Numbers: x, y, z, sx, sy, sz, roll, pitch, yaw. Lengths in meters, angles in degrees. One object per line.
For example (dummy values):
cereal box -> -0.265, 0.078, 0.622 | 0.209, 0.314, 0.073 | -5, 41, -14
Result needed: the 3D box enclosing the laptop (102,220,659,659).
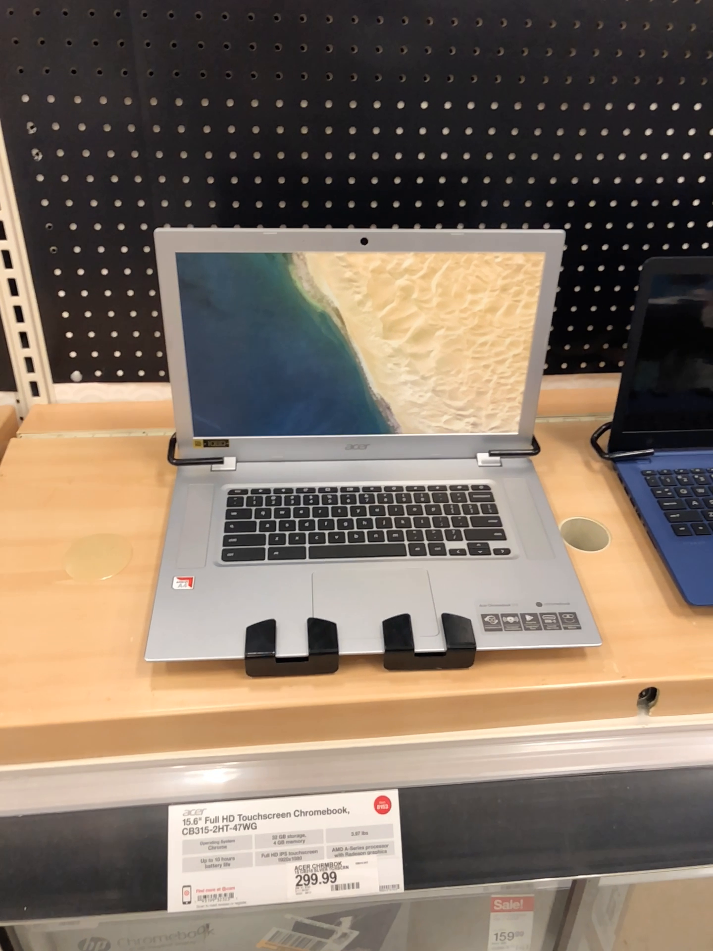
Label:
laptop -> 0.008, -0.050, 0.697 | 0.371, 0.246, 0.287 | -1, 34, -4
